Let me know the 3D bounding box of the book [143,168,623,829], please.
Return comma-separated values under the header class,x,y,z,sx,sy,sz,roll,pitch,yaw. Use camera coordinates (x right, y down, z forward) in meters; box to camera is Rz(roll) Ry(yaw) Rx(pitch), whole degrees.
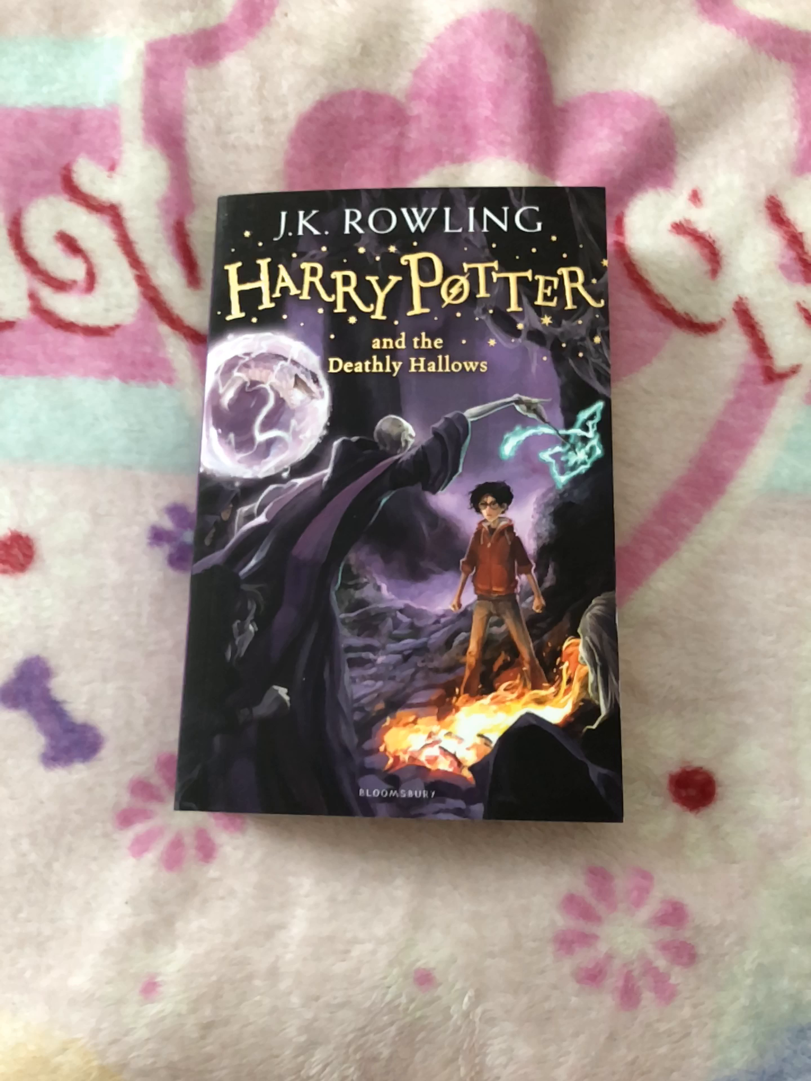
class,x,y,z,sx,sy,sz,roll,pitch,yaw
book,-0.002,-0.013,0.284,0.126,0.060,0.187,0,78,6
